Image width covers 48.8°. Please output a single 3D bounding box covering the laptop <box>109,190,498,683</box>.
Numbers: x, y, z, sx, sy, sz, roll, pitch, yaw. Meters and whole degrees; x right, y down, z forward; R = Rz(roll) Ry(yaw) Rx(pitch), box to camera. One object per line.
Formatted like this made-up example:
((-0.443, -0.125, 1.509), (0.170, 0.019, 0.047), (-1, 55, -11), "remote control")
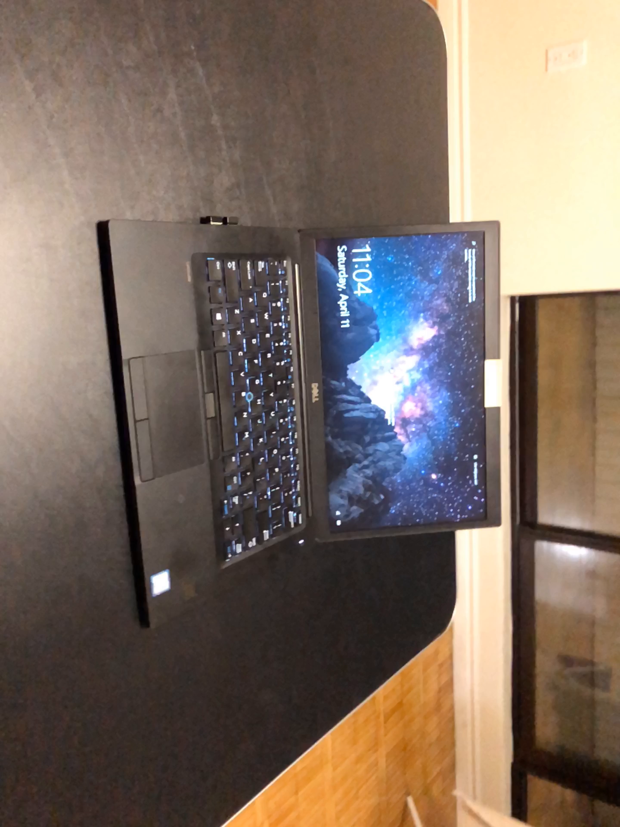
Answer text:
((0.031, -0.011, 0.620), (0.369, 0.140, 0.319), (-16, 106, -51), "laptop")
